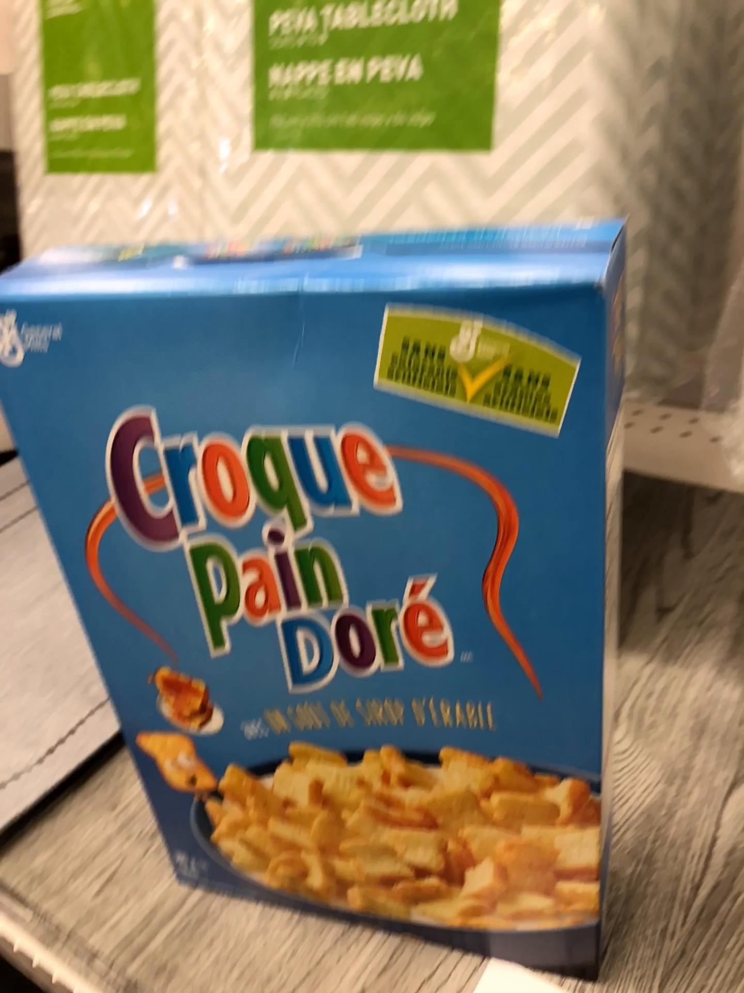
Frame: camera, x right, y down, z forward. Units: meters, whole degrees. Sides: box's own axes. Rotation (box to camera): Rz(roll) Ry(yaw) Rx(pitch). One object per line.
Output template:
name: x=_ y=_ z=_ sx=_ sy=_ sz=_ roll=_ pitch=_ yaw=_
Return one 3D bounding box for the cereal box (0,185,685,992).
cereal box: x=-0.009 y=0.048 z=0.296 sx=0.210 sy=0.279 sz=0.050 roll=3 pitch=31 yaw=20
